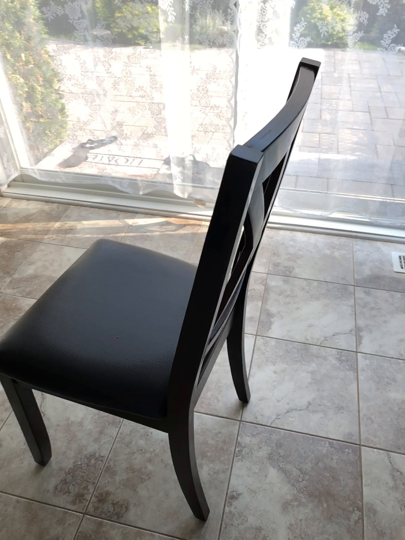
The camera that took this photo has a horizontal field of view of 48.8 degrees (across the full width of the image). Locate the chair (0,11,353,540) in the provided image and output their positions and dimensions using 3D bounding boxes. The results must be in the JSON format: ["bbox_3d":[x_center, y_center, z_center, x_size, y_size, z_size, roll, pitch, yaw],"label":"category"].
[{"bbox_3d":[-0.125,0.059,0.926,0.601,0.936,0.482,15,42,18],"label":"chair"}]
